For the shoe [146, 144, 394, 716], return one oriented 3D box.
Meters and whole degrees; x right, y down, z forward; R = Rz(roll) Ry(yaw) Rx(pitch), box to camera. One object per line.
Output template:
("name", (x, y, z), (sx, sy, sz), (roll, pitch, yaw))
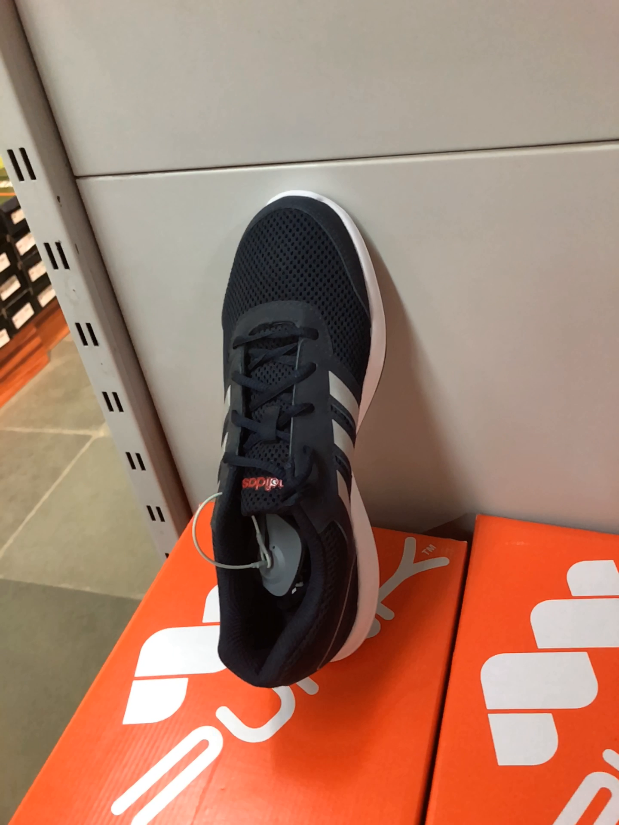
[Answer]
("shoe", (-0.020, 0.008, 0.387), (0.110, 0.272, 0.088), (-2, -3, 23))
